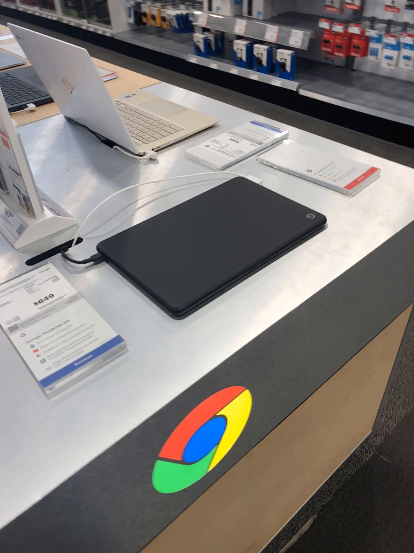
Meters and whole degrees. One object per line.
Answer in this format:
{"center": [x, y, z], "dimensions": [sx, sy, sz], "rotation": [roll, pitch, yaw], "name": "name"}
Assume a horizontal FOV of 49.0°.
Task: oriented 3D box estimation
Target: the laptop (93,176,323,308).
{"center": [0.006, -0.072, 0.687], "dimensions": [0.297, 0.001, 0.195], "rotation": [-31, 46, -30], "name": "laptop"}

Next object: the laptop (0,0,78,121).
{"center": [-0.560, -0.584, 1.182], "dimensions": [0.288, 0.189, 0.307], "rotation": [-32, 49, -29], "name": "laptop"}

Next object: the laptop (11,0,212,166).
{"center": [-0.195, -0.429, 0.971], "dimensions": [0.275, 0.206, 0.303], "rotation": [-33, 48, -29], "name": "laptop"}
